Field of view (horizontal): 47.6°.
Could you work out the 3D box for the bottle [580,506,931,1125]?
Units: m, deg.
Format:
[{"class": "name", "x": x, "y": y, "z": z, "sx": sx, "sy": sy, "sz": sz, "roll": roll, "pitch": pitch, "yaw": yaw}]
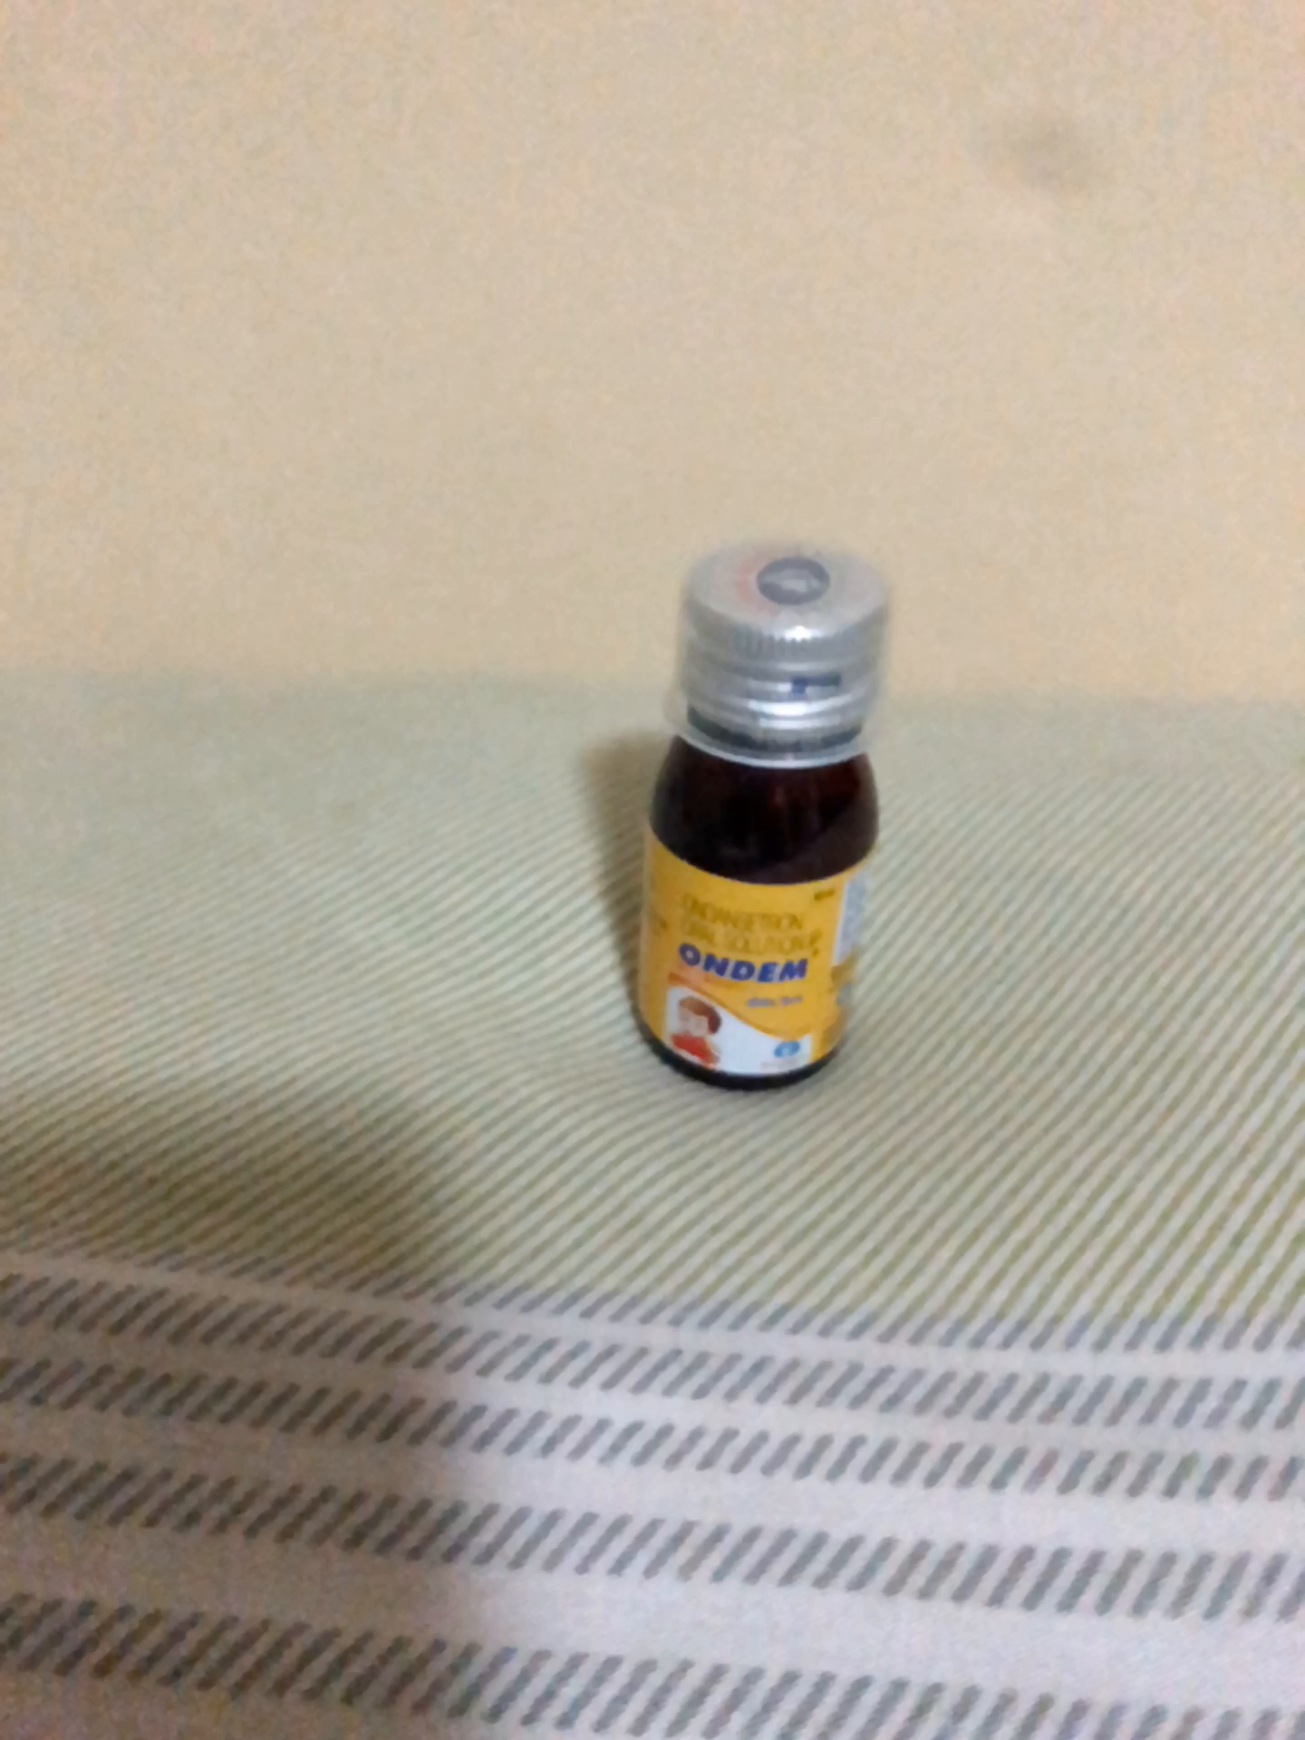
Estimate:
[{"class": "bottle", "x": 0.015, "y": -0.007, "z": 0.215, "sx": 0.037, "sy": 0.076, "sz": 0.038, "roll": 0, "pitch": 36, "yaw": 0}]
